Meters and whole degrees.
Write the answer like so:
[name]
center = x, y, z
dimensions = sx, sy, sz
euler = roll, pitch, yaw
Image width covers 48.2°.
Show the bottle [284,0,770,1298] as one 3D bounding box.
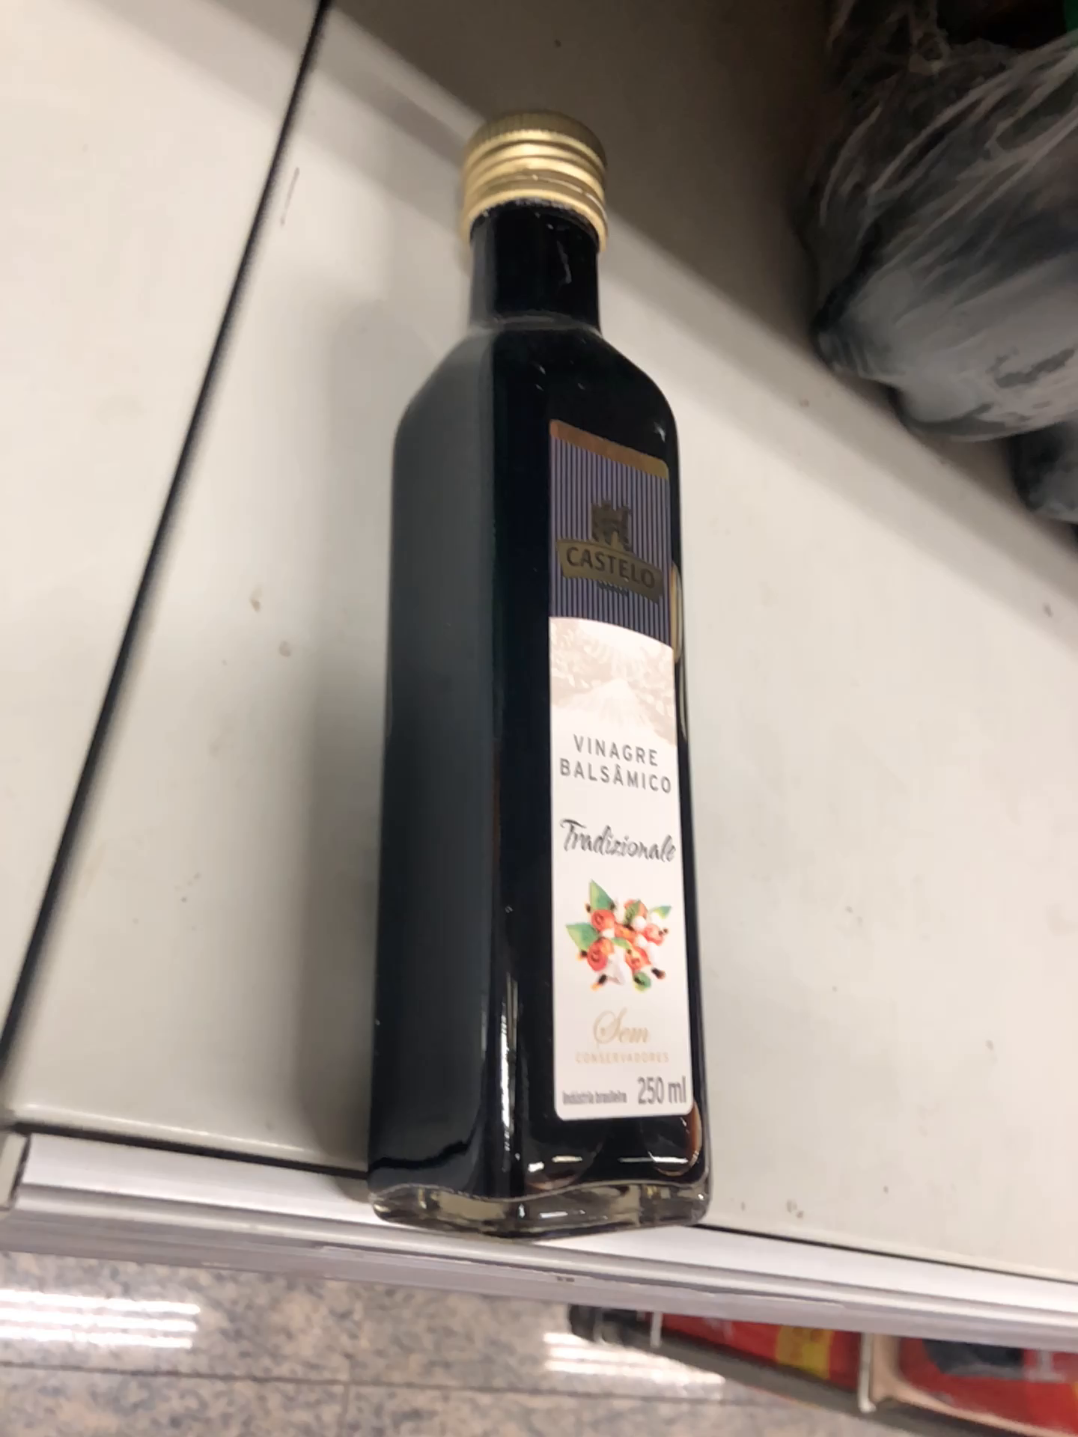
[bottle]
center = -0.002, -0.032, 0.237
dimensions = 0.060, 0.060, 0.250
euler = 10, 73, -36
